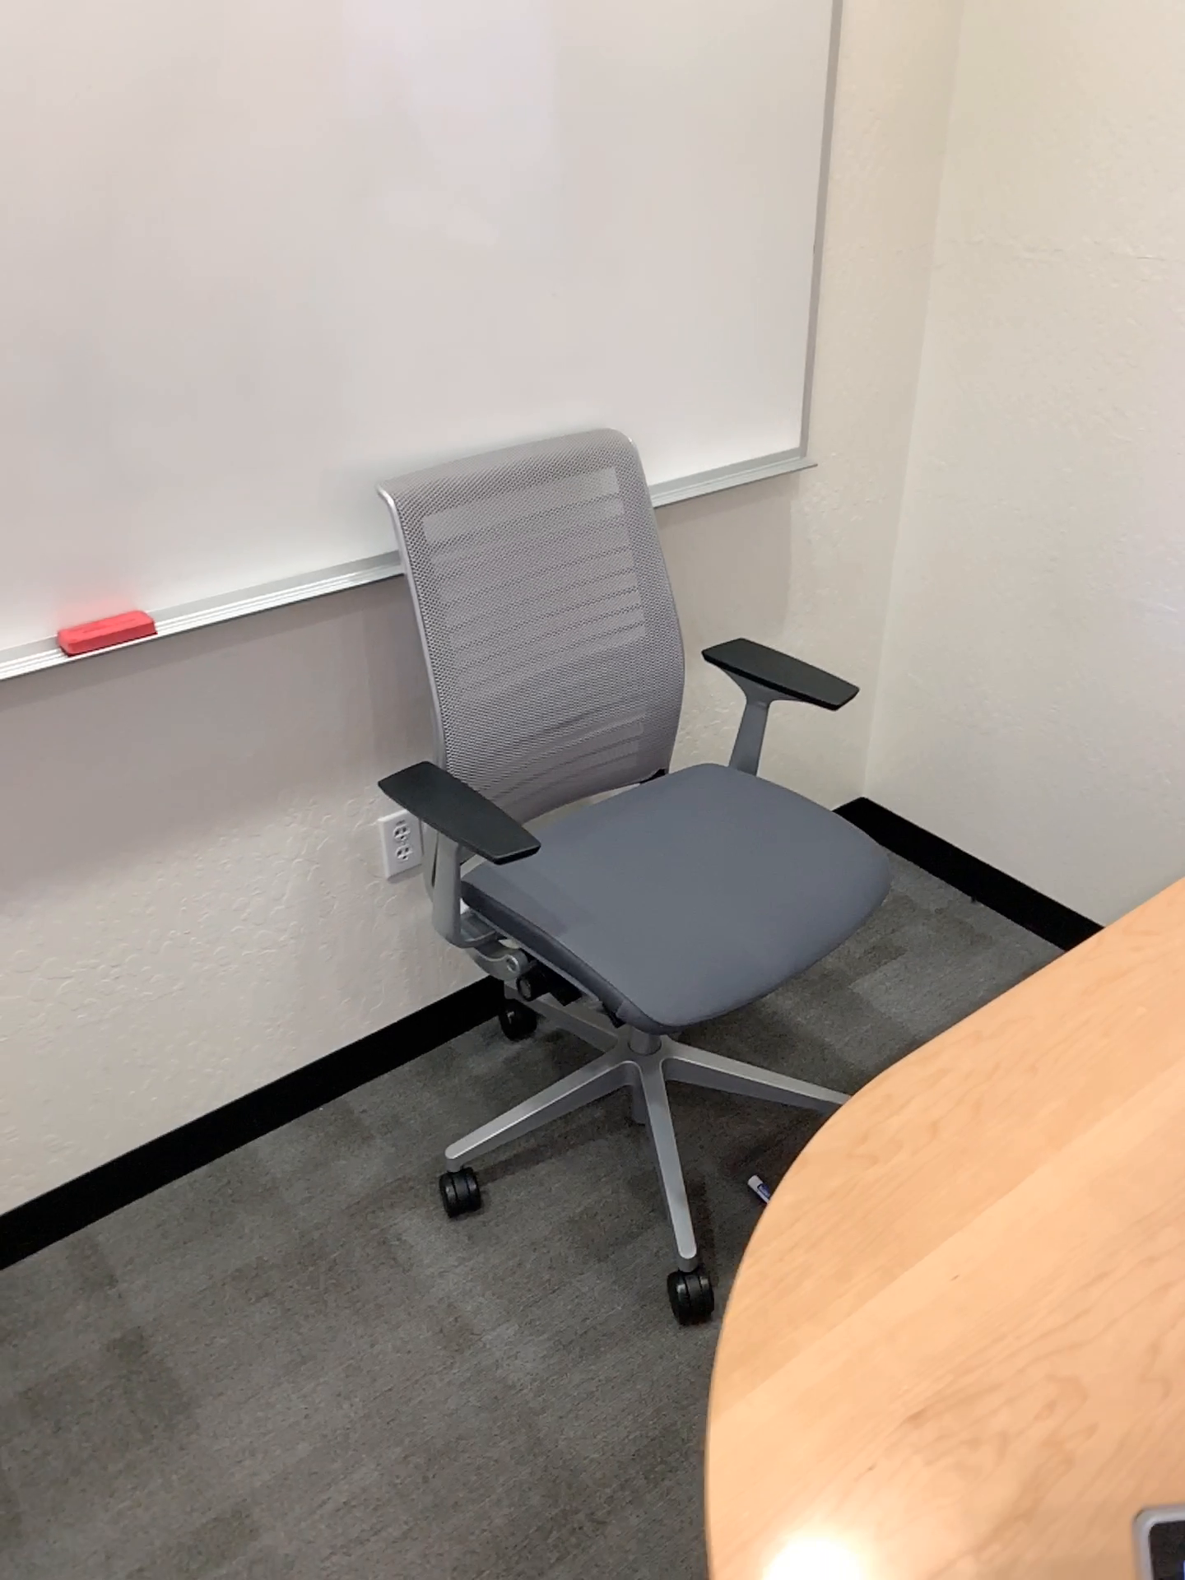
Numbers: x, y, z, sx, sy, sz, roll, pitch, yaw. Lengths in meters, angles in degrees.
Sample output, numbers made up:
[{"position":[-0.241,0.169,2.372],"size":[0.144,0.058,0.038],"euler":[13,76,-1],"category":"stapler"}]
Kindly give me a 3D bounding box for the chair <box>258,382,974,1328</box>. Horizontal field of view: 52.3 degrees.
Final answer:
[{"position":[0.029,0.049,2.102],"size":[0.761,1.263,0.753],"euler":[-23,36,-35],"category":"chair"}]
